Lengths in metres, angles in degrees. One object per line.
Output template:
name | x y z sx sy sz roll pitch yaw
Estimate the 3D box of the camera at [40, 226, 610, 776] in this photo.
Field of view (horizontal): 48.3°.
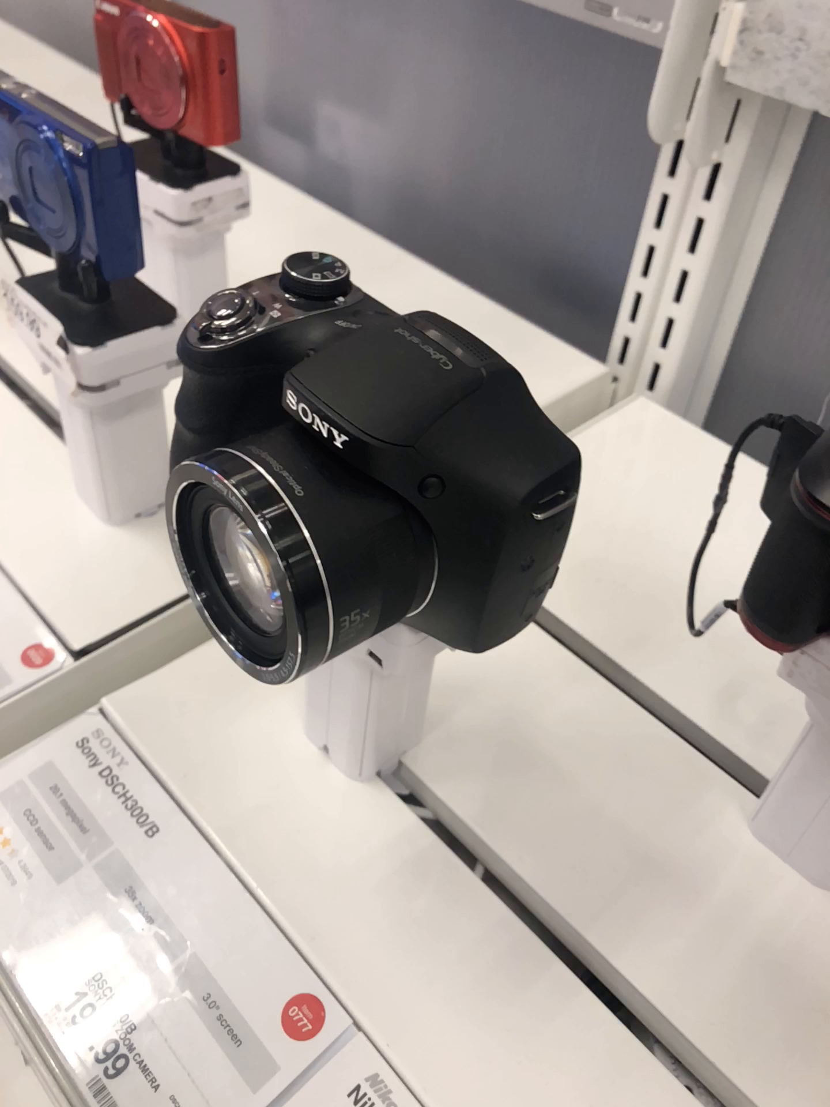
camera | -0.027 -0.023 0.259 0.087 0.076 0.119 -32 55 -33
